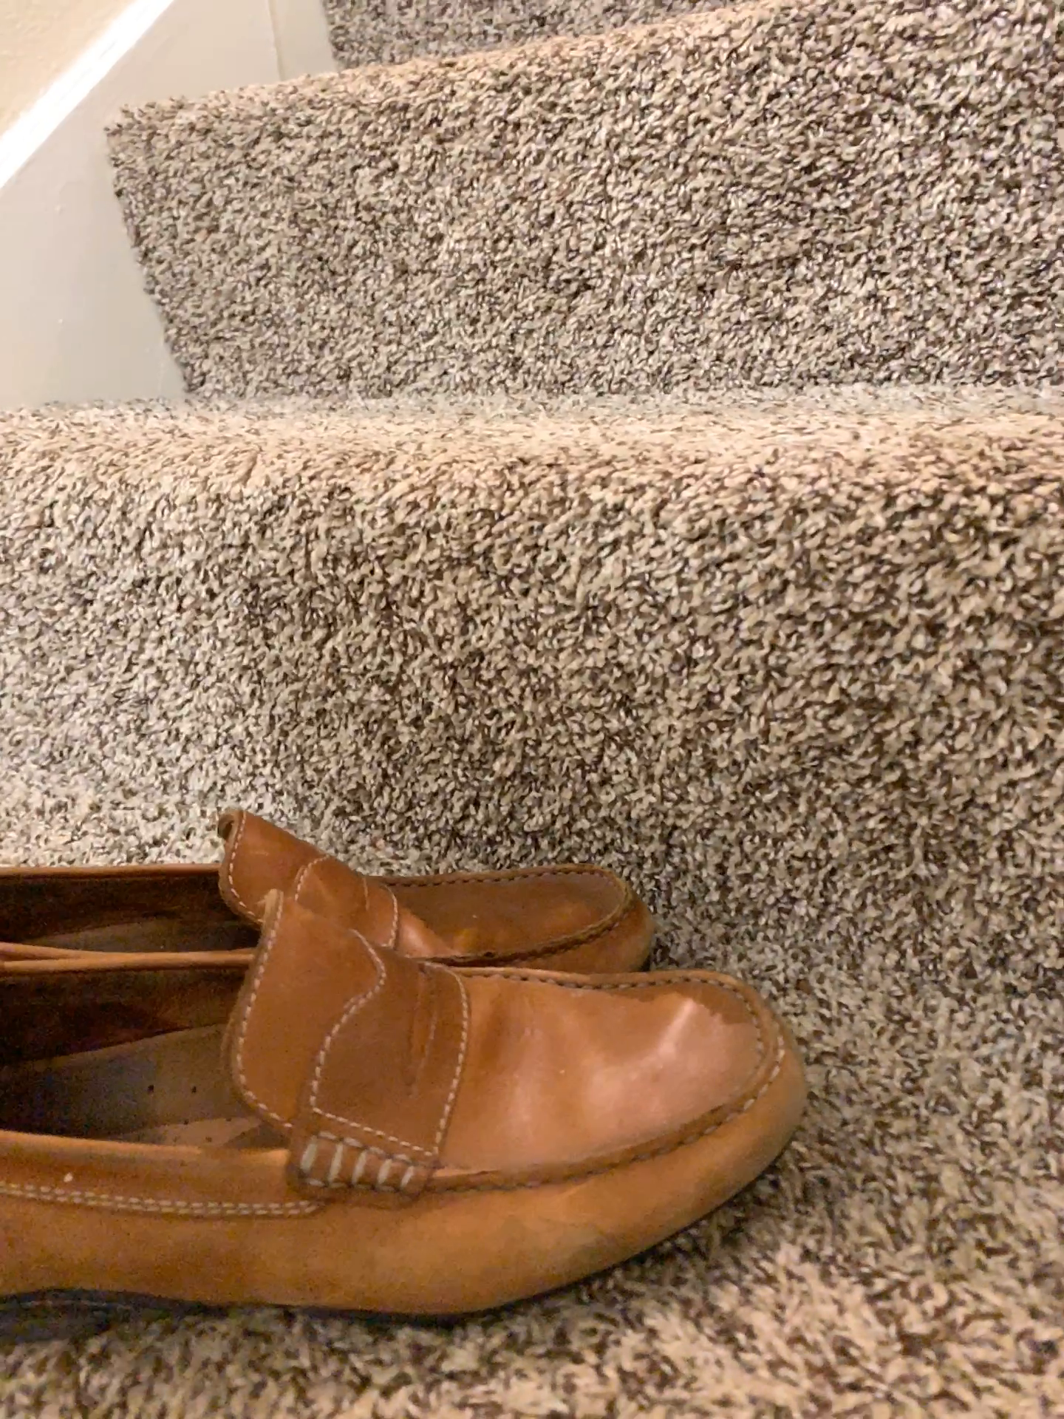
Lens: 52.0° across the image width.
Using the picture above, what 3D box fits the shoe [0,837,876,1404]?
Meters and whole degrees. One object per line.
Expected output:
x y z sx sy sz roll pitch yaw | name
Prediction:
-0.062 0.104 0.314 0.280 0.070 0.120 -4 19 -3 | shoe

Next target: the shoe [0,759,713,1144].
-0.087 0.075 0.370 0.280 0.070 0.090 -4 19 -3 | shoe
